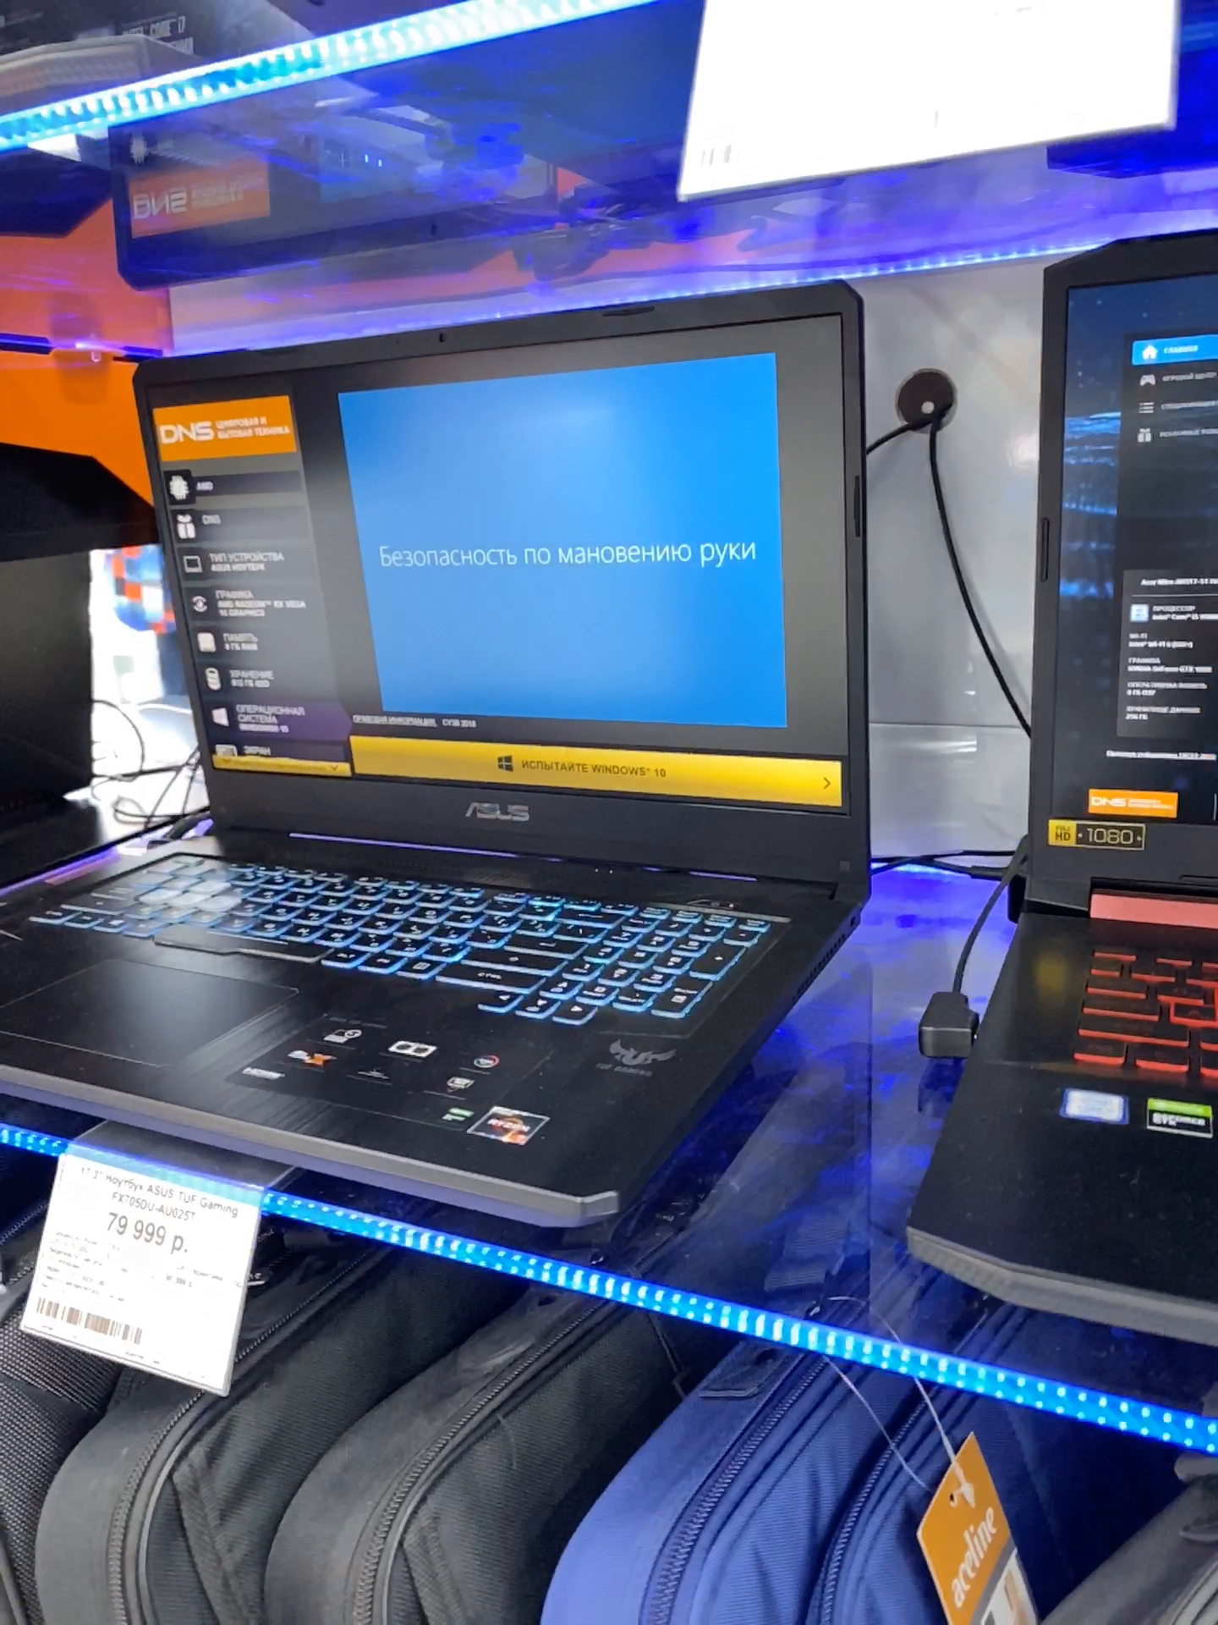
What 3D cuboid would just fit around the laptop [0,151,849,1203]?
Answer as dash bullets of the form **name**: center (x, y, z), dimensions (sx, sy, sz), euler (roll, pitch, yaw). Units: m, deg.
- **laptop**: center (-0.130, -0.067, 0.517), dimensions (0.397, 0.265, 0.269), euler (4, 16, 25)
